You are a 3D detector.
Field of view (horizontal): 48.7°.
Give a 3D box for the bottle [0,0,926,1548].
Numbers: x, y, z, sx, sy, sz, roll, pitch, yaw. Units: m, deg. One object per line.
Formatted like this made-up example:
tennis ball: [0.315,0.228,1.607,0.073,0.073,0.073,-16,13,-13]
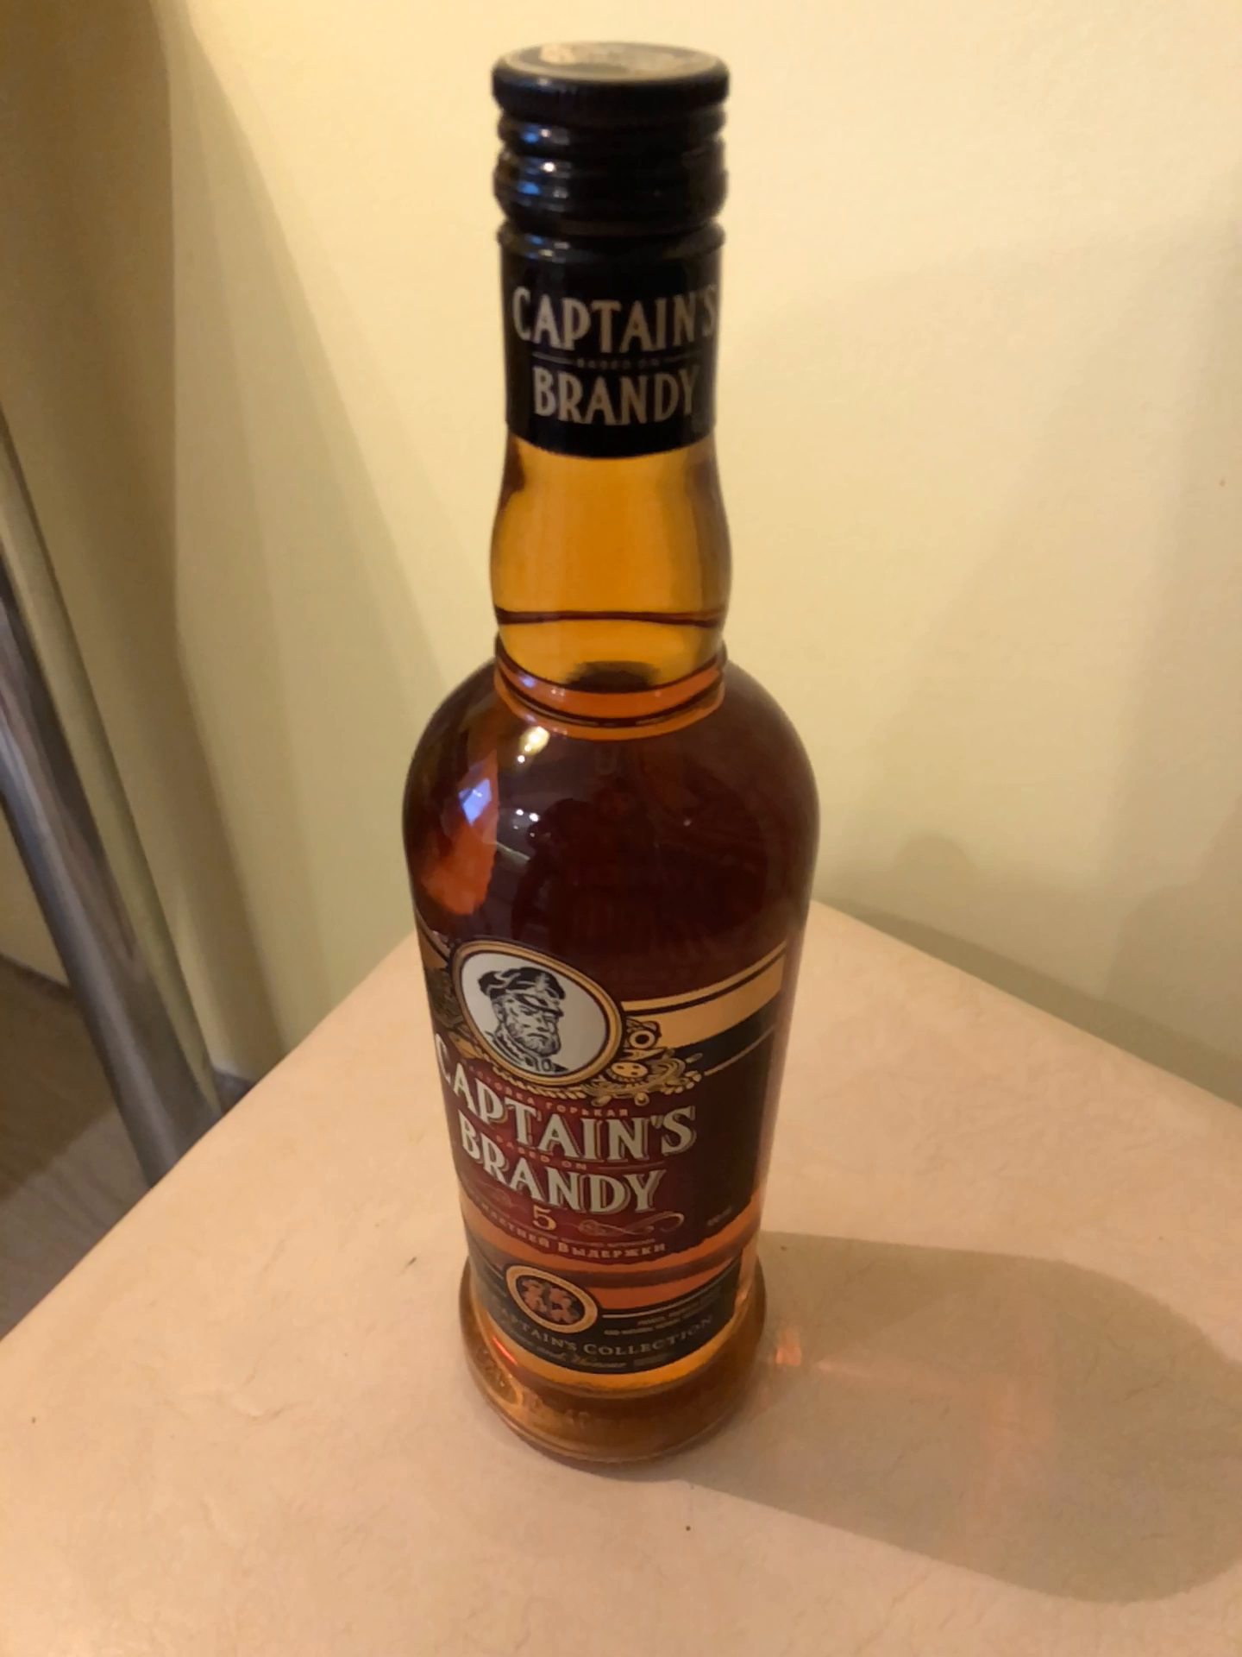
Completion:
bottle: [-0.009,0.009,0.231,0.080,0.258,0.070,13,39,19]
